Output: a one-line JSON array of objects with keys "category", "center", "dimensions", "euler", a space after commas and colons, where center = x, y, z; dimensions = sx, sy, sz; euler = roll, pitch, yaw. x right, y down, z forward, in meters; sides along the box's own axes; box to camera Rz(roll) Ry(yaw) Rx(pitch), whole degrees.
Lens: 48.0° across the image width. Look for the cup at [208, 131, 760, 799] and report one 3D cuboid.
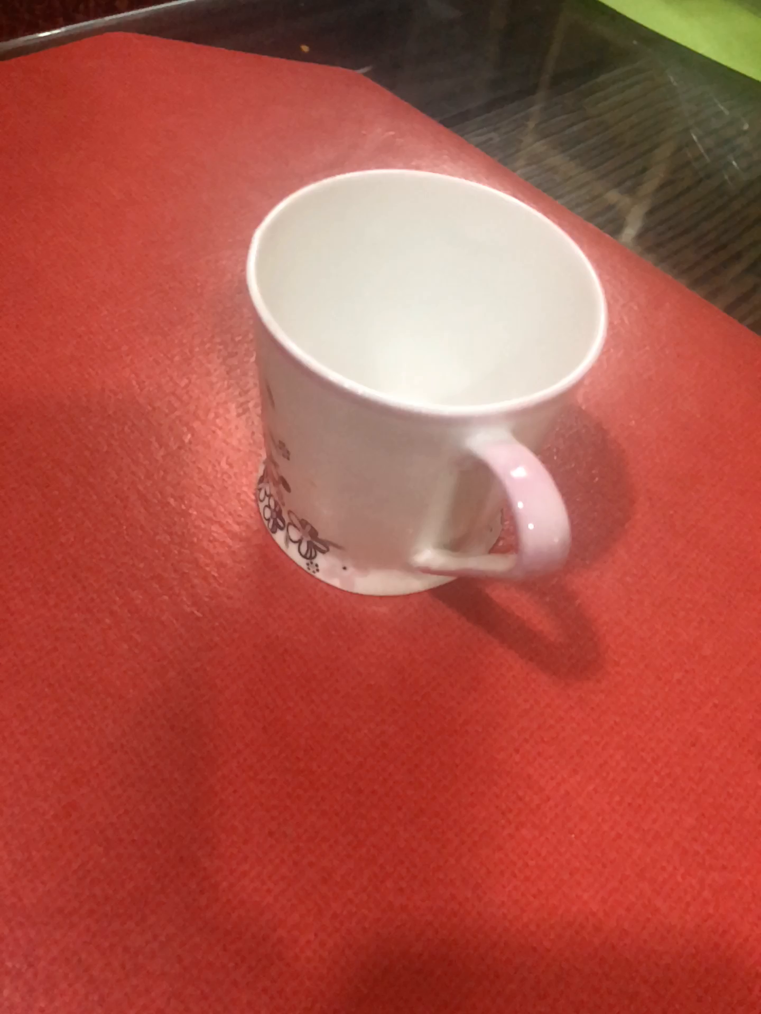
[{"category": "cup", "center": [0.017, -0.012, 0.183], "dimensions": [0.070, 0.080, 0.100], "euler": [-21, 59, -24]}]
